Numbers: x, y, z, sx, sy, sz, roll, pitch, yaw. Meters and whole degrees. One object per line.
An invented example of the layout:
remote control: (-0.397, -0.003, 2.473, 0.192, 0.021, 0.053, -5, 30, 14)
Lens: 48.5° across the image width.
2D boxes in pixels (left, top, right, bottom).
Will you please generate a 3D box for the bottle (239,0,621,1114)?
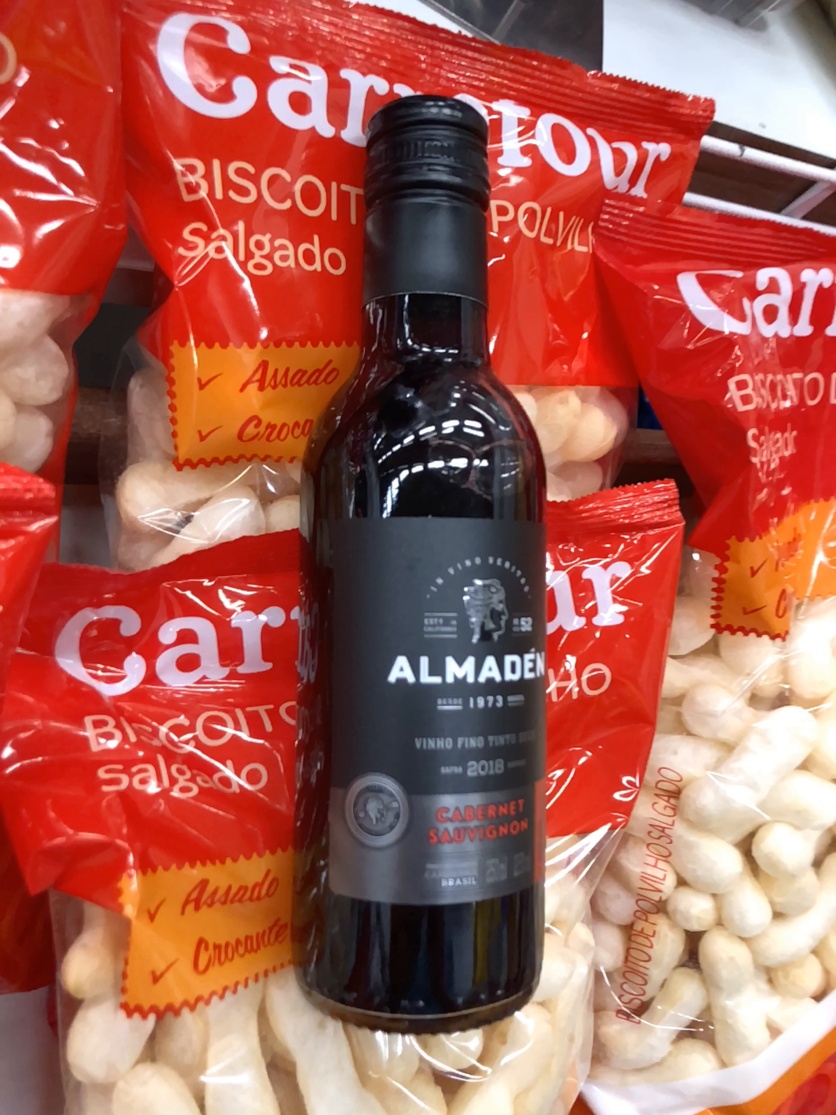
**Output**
bottle: (-0.001, -0.015, 0.214, 0.060, 0.060, 0.240, 3, 82, -30)
